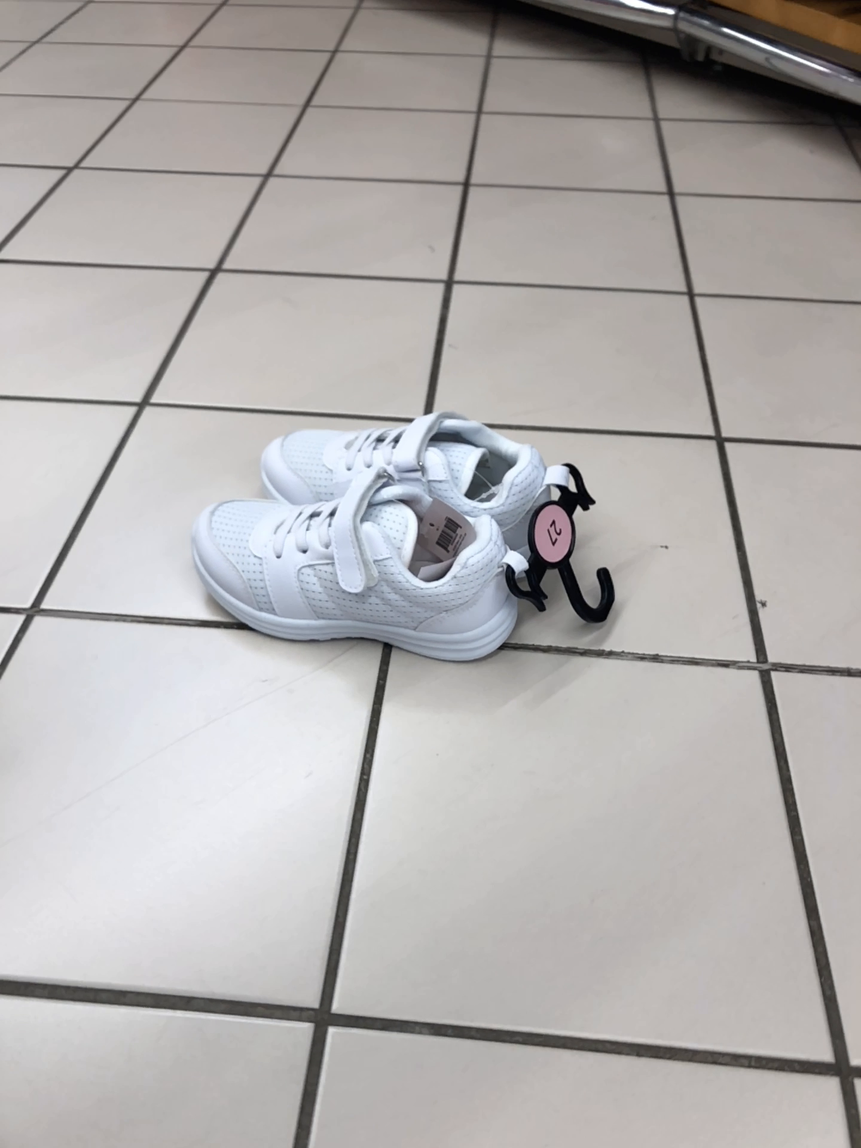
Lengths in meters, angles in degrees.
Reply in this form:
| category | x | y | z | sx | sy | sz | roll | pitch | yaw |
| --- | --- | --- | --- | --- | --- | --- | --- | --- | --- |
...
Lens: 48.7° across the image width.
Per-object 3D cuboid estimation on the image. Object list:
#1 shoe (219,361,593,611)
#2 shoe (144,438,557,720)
| category | x | y | z | sx | sy | sz | roll | pitch | yaw |
| --- | --- | --- | --- | --- | --- | --- | --- | --- | --- |
| shoe | -0.013 | -0.056 | 0.575 | 0.200 | 0.080 | 0.081 | 13 | 46 | 13 |
| shoe | -0.041 | -0.001 | 0.524 | 0.200 | 0.080 | 0.081 | 13 | 46 | 13 |
